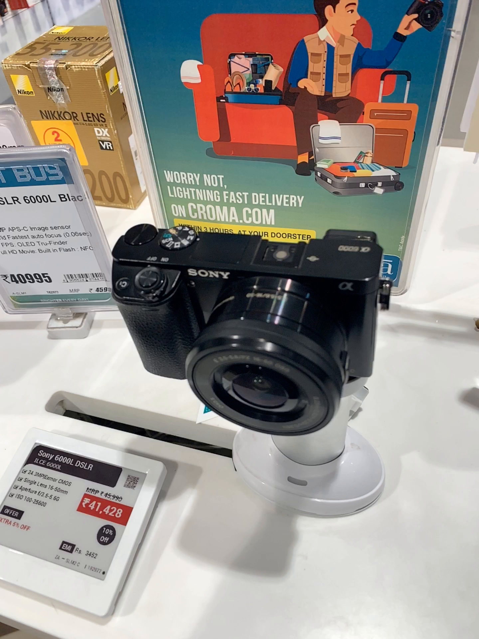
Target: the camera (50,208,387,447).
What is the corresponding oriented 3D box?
[{"bbox_3d":[-0.003,0.002,0.212,0.118,0.073,0.056,6,47,12],"label":"camera"}]
